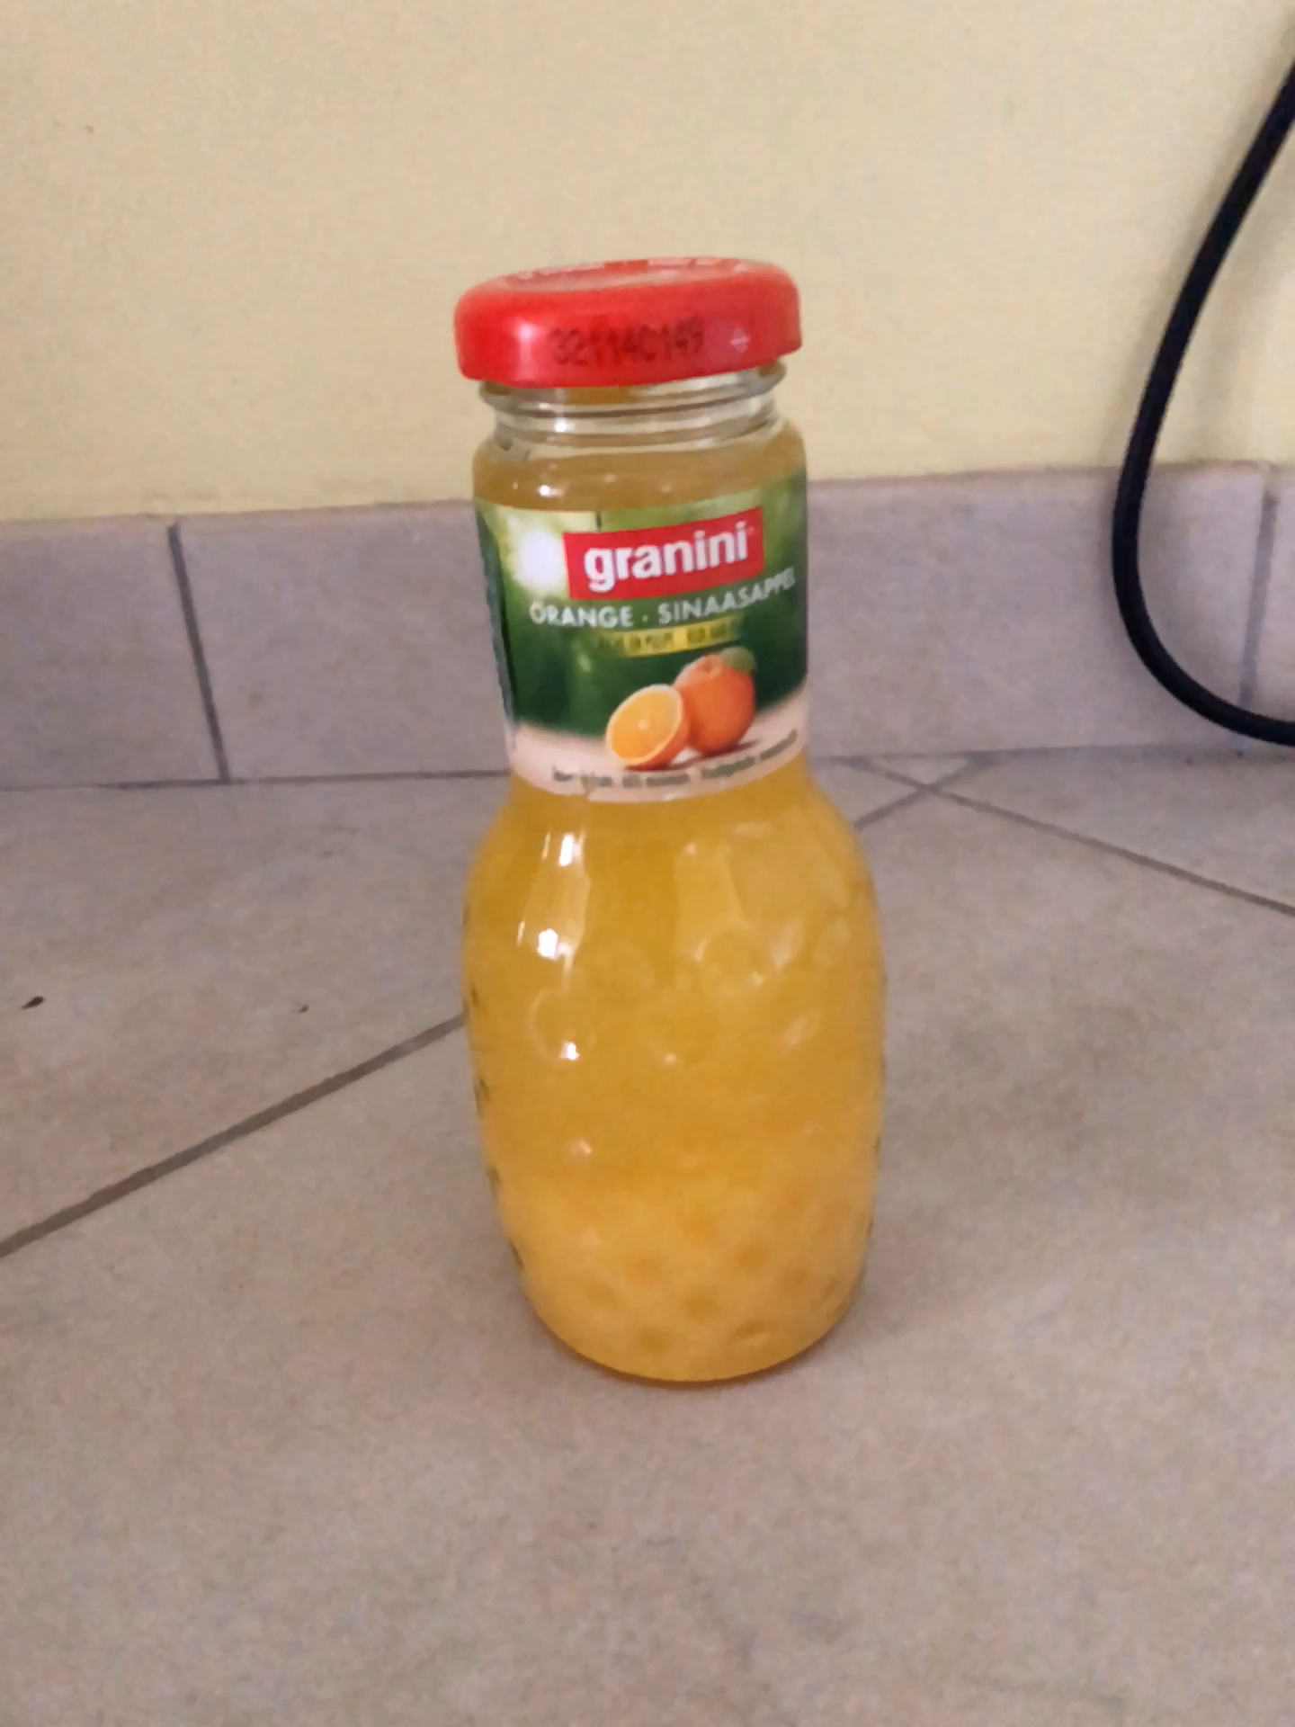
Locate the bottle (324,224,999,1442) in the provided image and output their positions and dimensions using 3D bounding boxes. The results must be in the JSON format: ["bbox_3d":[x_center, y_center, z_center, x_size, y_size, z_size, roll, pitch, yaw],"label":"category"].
[{"bbox_3d":[0.002,-0.002,0.209,0.070,0.159,0.060,-7,28,-7],"label":"bottle"}]
